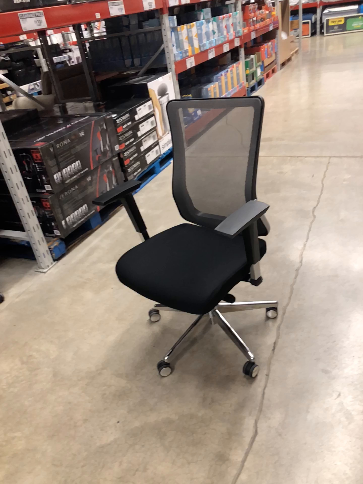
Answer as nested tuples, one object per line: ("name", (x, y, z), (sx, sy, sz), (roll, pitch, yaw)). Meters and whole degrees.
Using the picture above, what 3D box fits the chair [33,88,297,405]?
("chair", (0.038, -0.031, 1.685), (0.691, 0.987, 0.711), (8, 34, 29))
